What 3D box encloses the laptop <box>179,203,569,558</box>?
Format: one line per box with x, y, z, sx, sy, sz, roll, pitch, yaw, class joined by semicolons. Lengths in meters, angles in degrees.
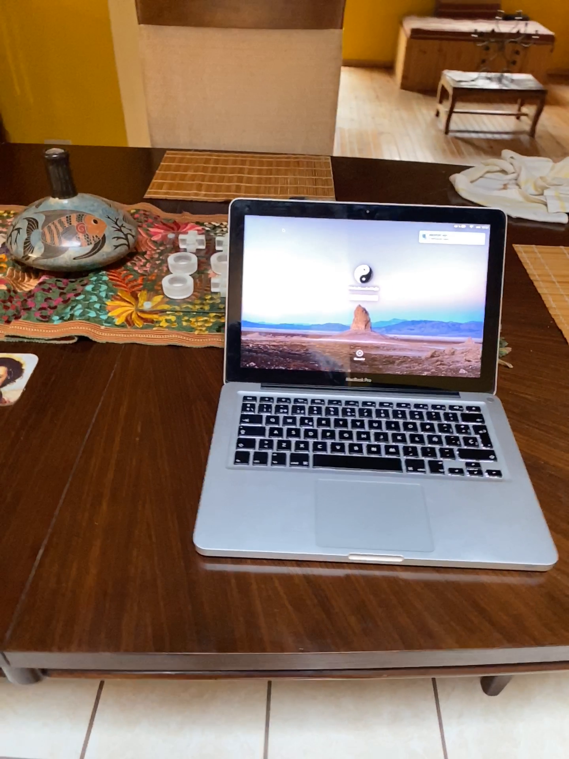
0.091;-0.025;0.613;0.324;0.170;0.359;2;40;1;laptop
